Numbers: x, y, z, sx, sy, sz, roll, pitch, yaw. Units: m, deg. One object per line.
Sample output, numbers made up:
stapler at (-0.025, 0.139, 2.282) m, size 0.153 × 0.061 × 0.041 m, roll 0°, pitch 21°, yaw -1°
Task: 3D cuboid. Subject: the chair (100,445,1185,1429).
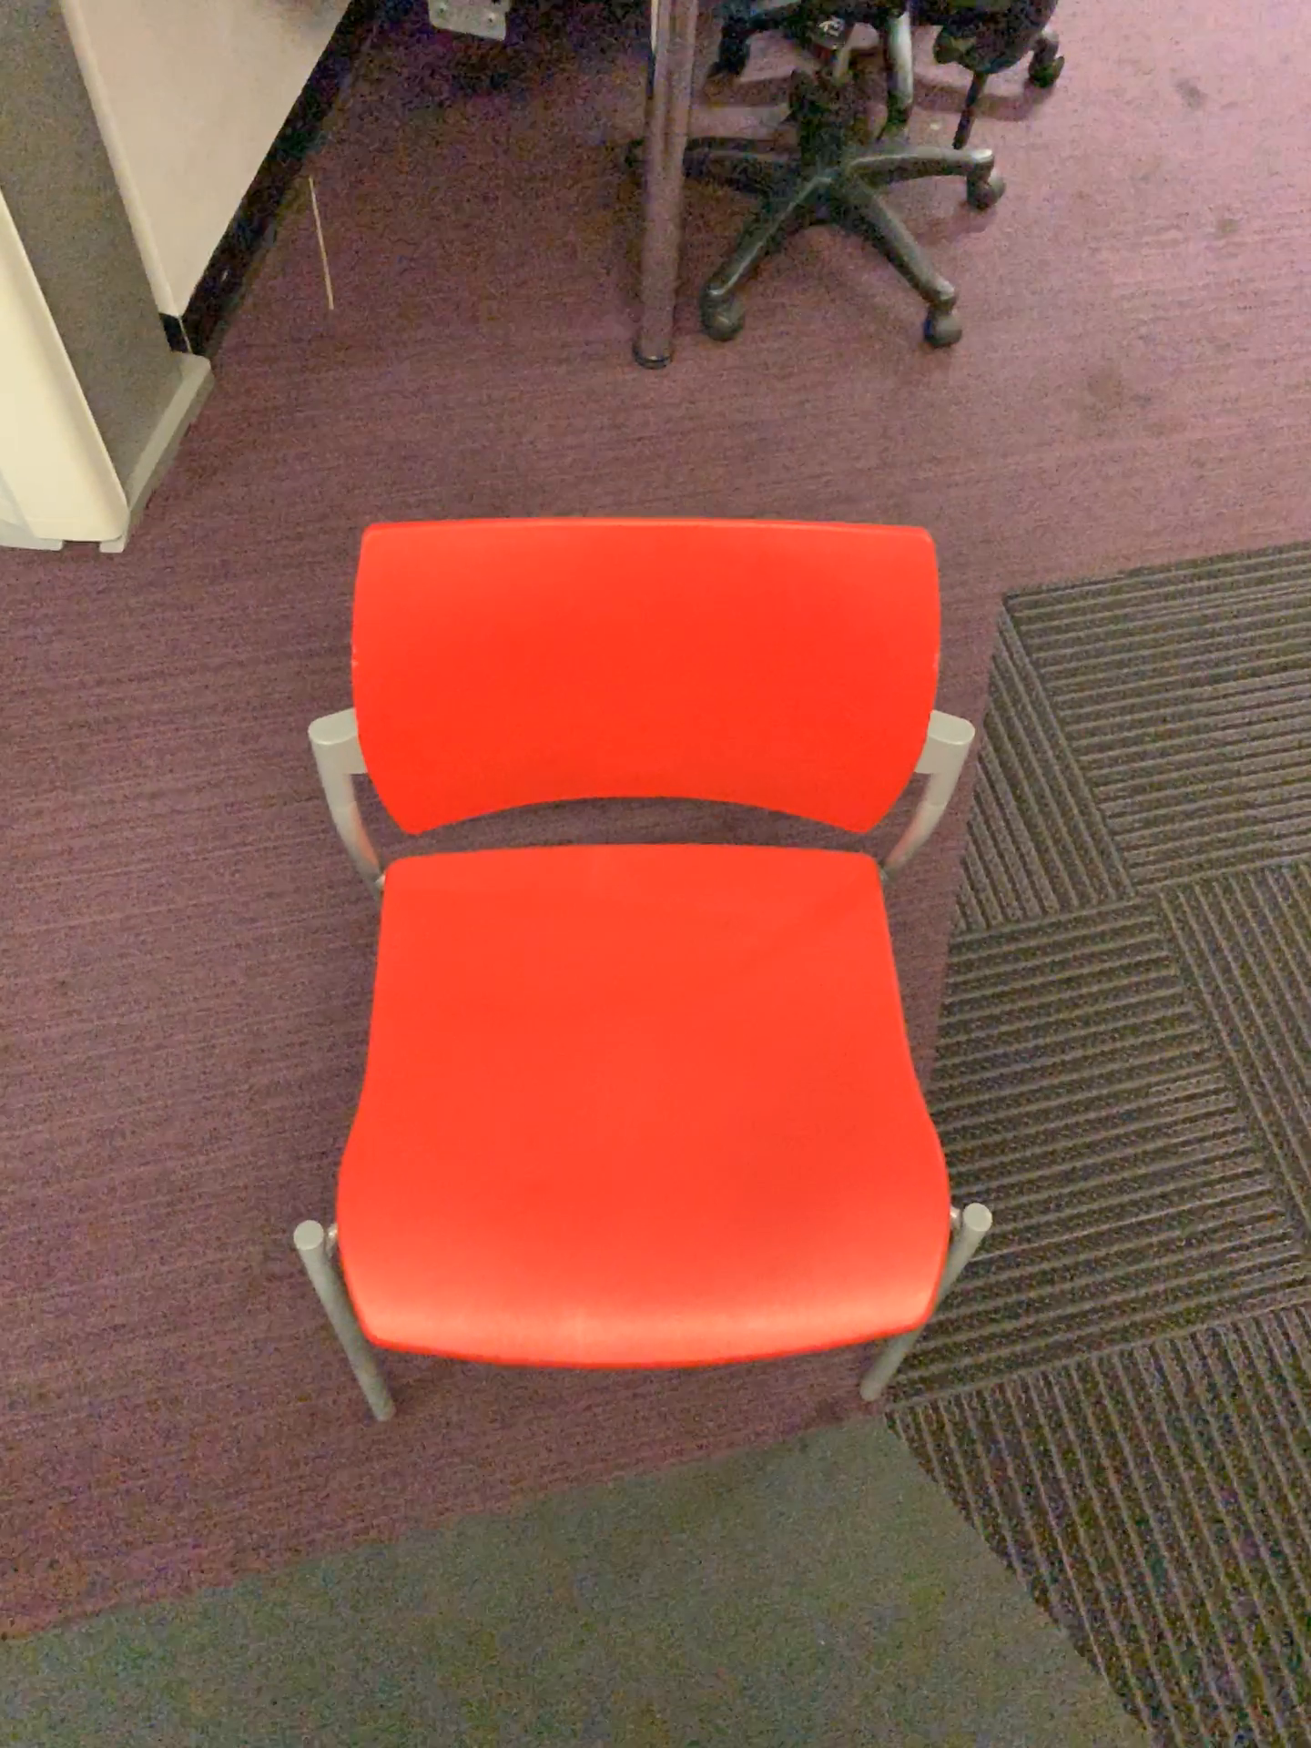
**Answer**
chair at (-0.002, 0.114, 1.100) m, size 0.540 × 0.686 × 0.563 m, roll 1°, pitch 62°, yaw 0°
